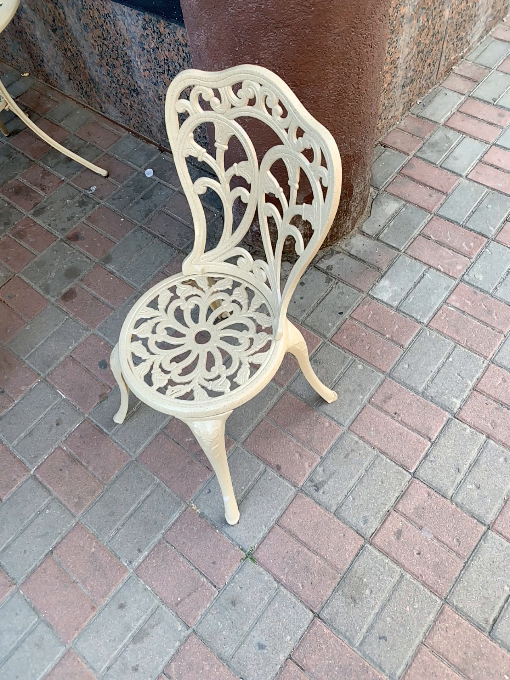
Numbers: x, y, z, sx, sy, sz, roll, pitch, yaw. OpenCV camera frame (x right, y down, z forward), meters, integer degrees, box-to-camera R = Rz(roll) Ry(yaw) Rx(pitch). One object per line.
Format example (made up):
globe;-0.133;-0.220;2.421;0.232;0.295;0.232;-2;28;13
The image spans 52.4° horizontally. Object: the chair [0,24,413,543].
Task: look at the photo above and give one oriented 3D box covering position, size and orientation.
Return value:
chair;-0.099;-0.044;1.069;0.481;0.798;0.550;35;68;24
